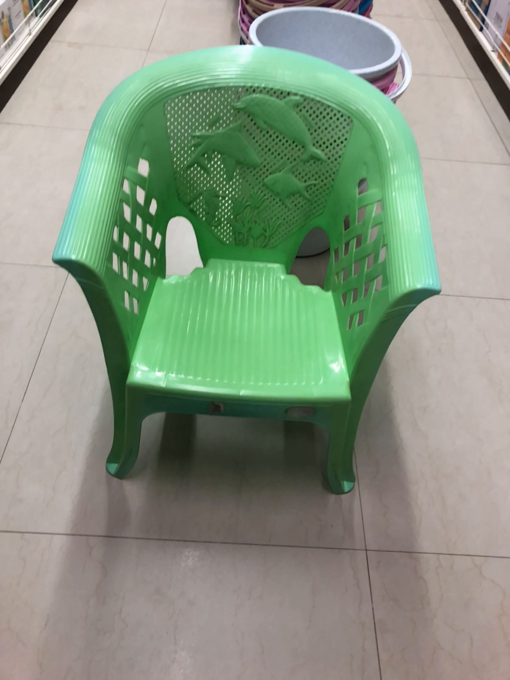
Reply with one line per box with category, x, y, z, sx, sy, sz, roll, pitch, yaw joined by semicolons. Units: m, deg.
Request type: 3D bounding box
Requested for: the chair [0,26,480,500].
chair;-0.030;-0.107;0.767;0.430;0.398;0.473;5;48;-1
